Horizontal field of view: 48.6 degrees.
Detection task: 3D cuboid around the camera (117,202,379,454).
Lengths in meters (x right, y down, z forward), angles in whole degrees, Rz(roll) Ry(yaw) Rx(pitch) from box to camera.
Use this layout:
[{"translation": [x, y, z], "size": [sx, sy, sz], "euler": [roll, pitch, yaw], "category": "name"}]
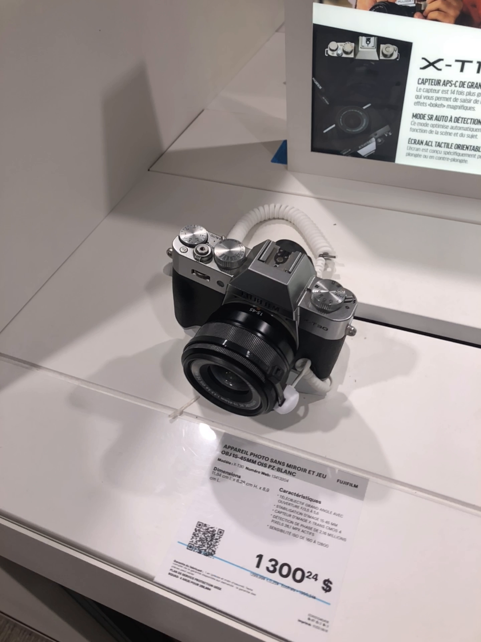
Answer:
[{"translation": [0.006, 0.002, 0.353], "size": [0.130, 0.089, 0.091], "euler": [23, 53, 18], "category": "camera"}]
